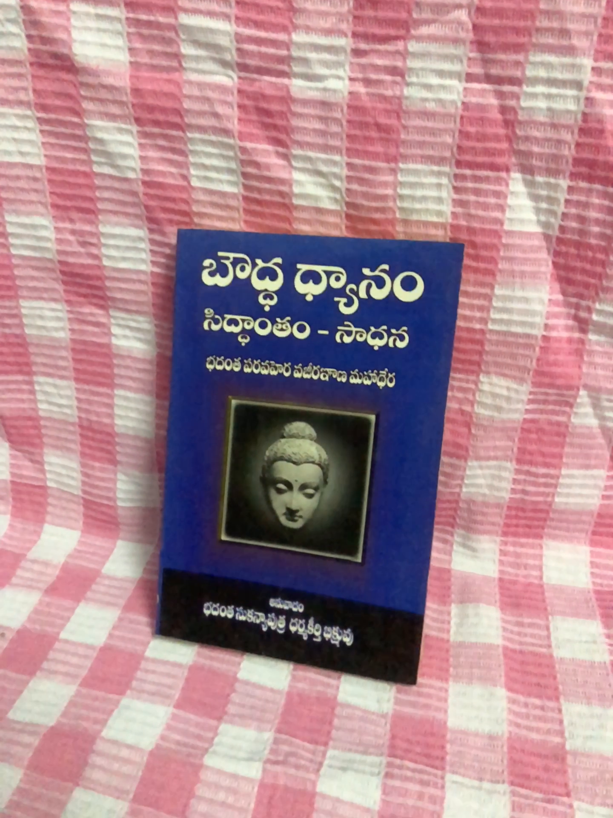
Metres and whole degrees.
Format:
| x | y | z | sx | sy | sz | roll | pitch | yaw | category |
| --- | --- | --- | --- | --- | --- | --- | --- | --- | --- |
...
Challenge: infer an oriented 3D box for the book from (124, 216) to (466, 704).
| x | y | z | sx | sy | sz | roll | pitch | yaw | category |
| --- | --- | --- | --- | --- | --- | --- | --- | --- | --- |
| -0.010 | 0.022 | 0.355 | 0.160 | 0.230 | 0.030 | 6 | 6 | 14 | book |
